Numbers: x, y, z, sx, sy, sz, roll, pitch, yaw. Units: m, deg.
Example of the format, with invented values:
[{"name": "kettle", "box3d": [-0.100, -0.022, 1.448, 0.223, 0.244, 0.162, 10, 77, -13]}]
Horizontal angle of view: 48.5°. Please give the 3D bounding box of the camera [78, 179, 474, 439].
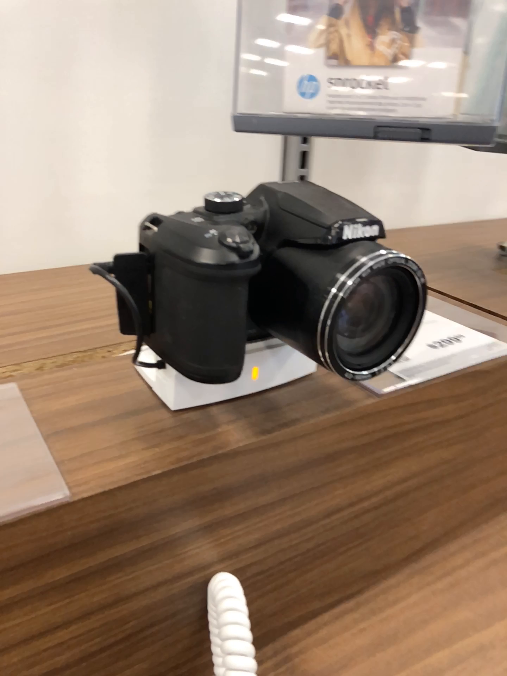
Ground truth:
[{"name": "camera", "box3d": [0.004, -0.030, 0.271, 0.130, 0.070, 0.130, -13, 27, -32]}]
